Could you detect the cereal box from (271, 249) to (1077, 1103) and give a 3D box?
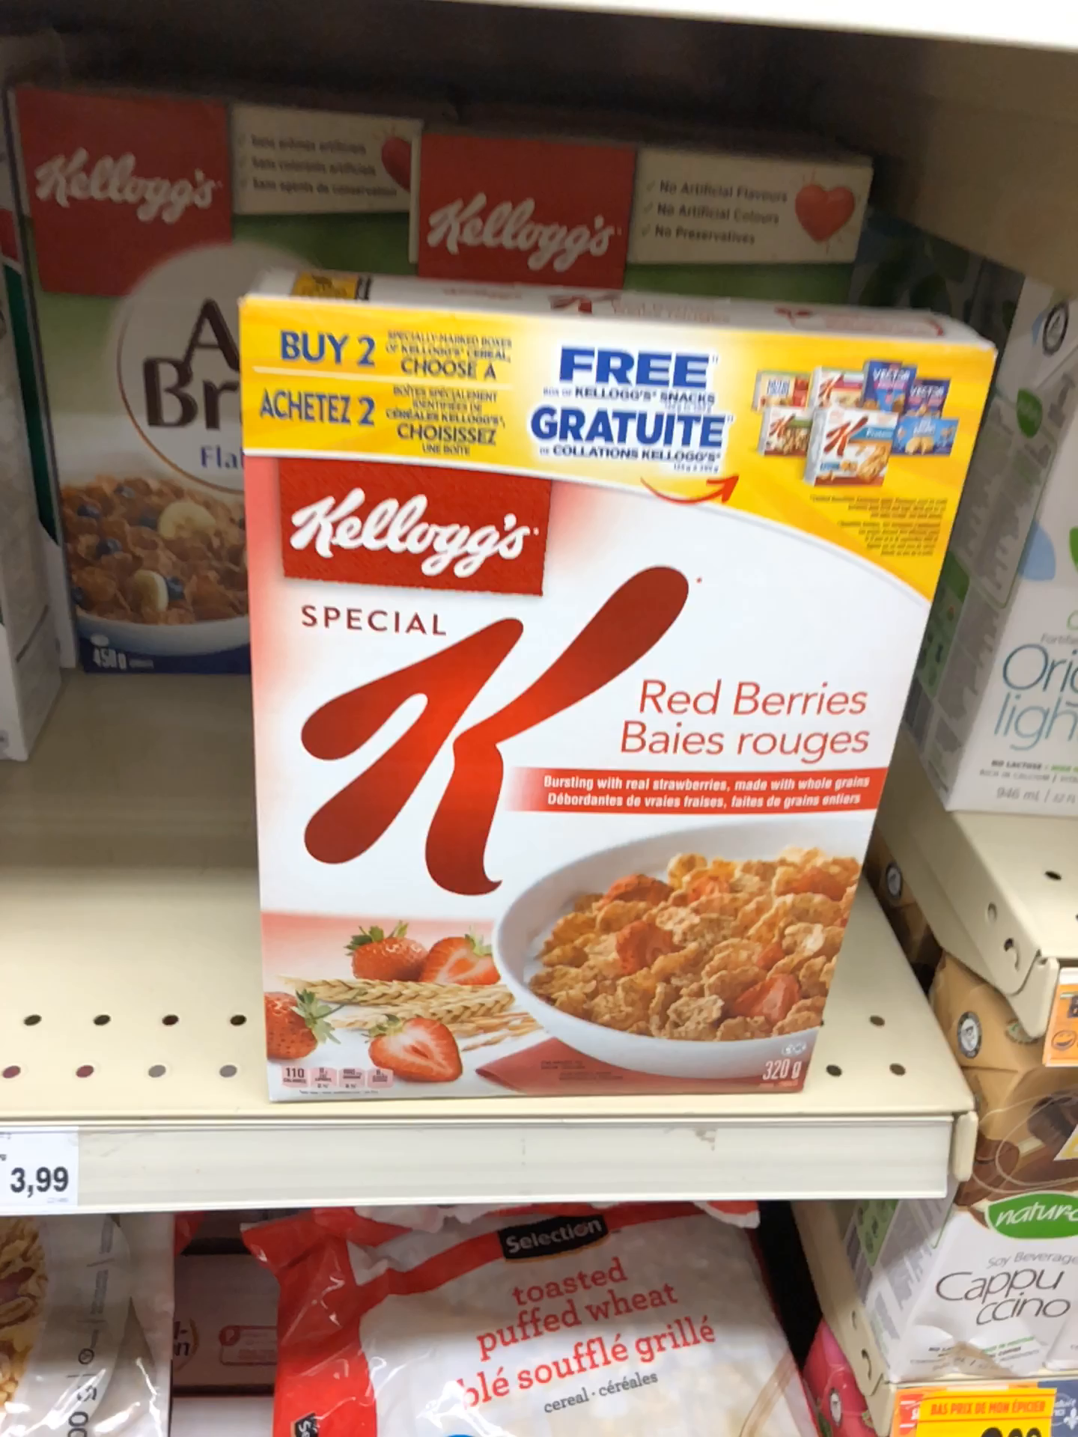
[{"bbox_3d":[0.026,0.005,0.349,0.190,0.248,0.050,1,31,-7],"label":"cereal box"}]
